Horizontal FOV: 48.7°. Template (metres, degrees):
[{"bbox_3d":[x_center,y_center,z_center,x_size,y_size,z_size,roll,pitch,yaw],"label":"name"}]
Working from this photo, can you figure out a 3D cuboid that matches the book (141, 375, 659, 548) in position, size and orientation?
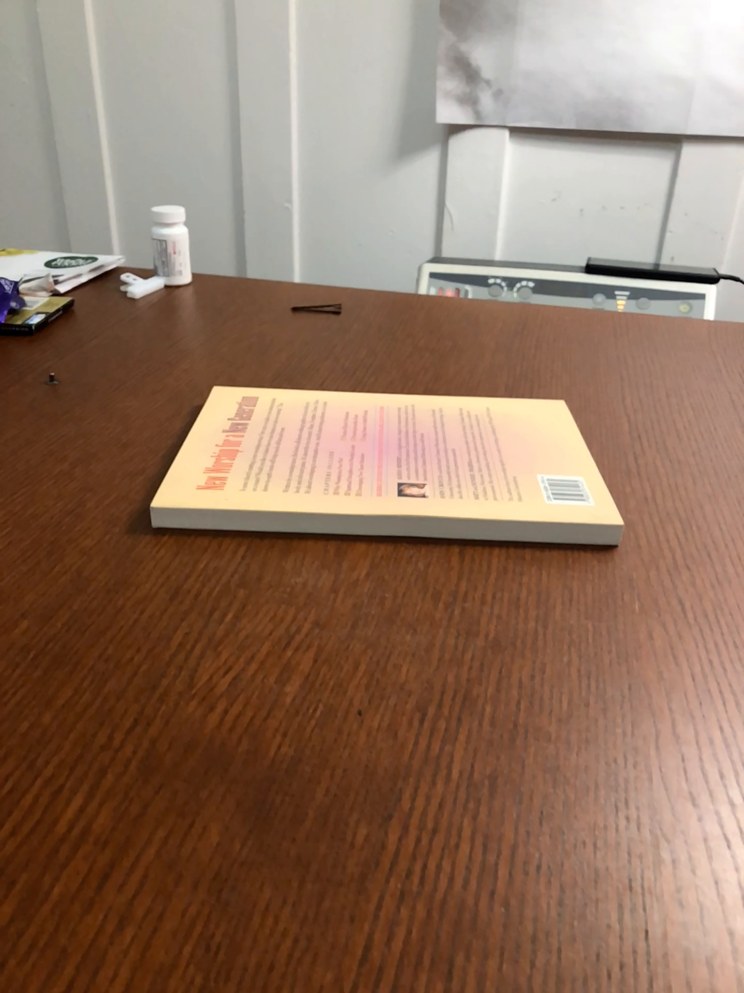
[{"bbox_3d":[0.015,-0.030,0.517,0.270,0.020,0.191,2,28,-1],"label":"book"}]
